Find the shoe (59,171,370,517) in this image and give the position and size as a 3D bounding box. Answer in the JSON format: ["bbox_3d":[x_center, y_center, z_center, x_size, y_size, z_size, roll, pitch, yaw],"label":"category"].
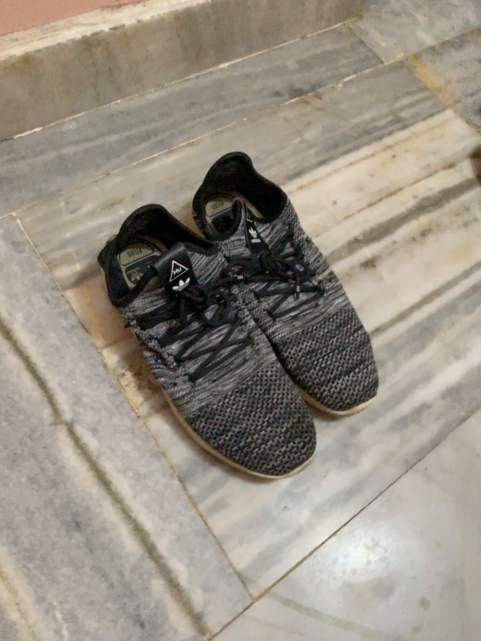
[{"bbox_3d":[-0.035,0.012,0.460,0.120,0.080,0.300,-30,72,-22],"label":"shoe"}]

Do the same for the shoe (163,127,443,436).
[{"bbox_3d":[0.047,-0.050,0.505,0.120,0.080,0.300,-27,71,-21],"label":"shoe"}]
